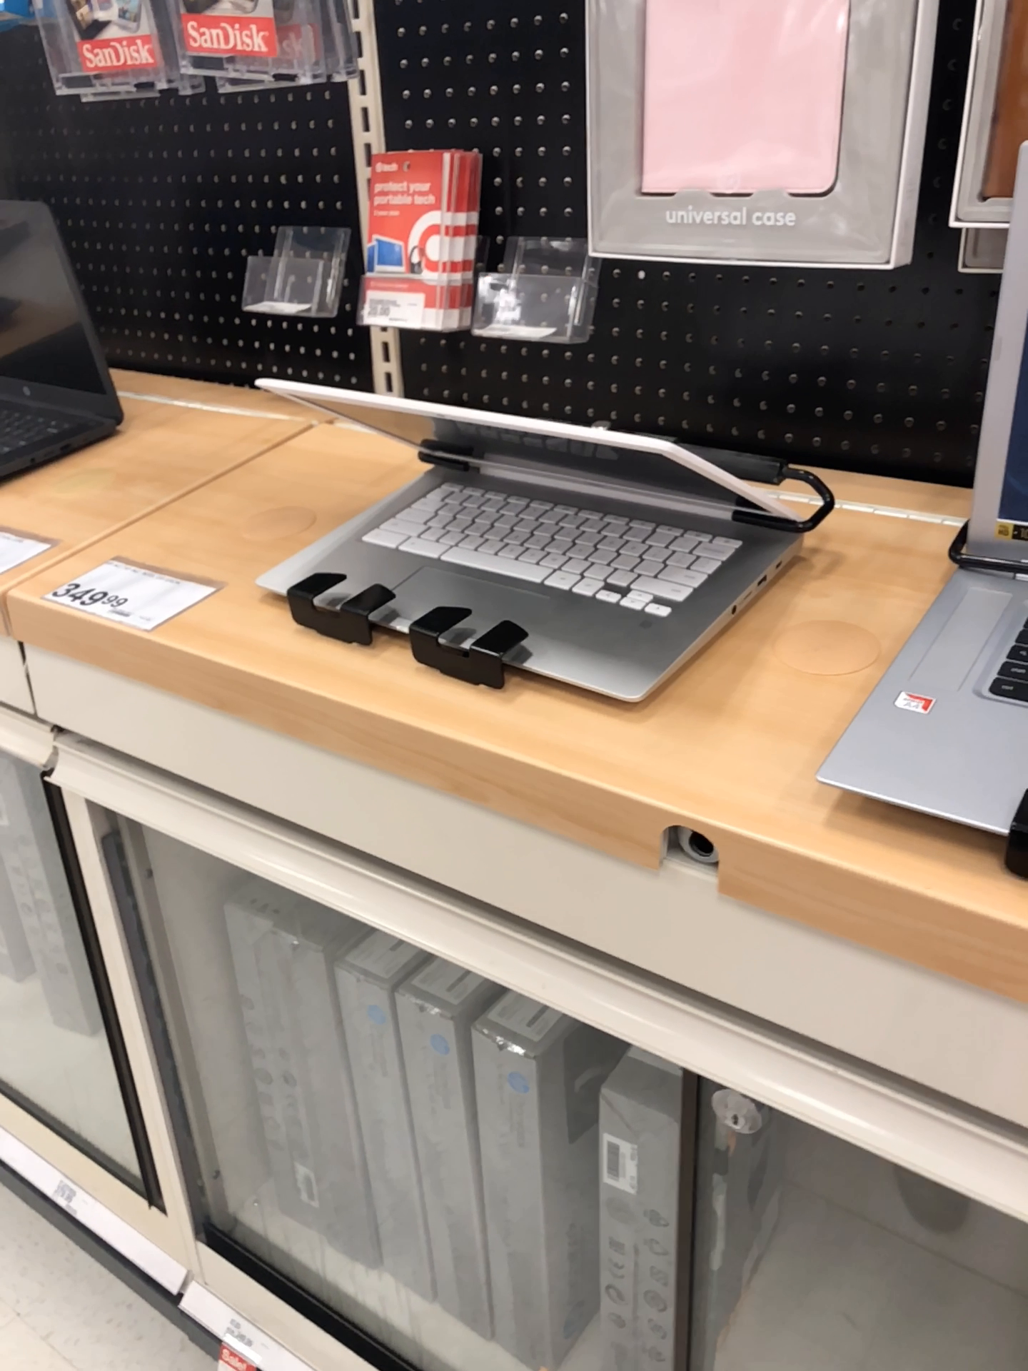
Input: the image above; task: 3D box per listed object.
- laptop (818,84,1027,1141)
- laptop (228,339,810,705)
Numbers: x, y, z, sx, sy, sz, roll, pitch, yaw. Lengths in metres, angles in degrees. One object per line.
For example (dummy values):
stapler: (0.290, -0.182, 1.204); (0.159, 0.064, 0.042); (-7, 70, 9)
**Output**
laptop: (0.373, -0.087, 0.481); (0.389, 0.244, 0.274); (15, 36, 31)
laptop: (-0.002, -0.134, 0.774); (0.331, 0.100, 0.216); (18, 42, 34)
